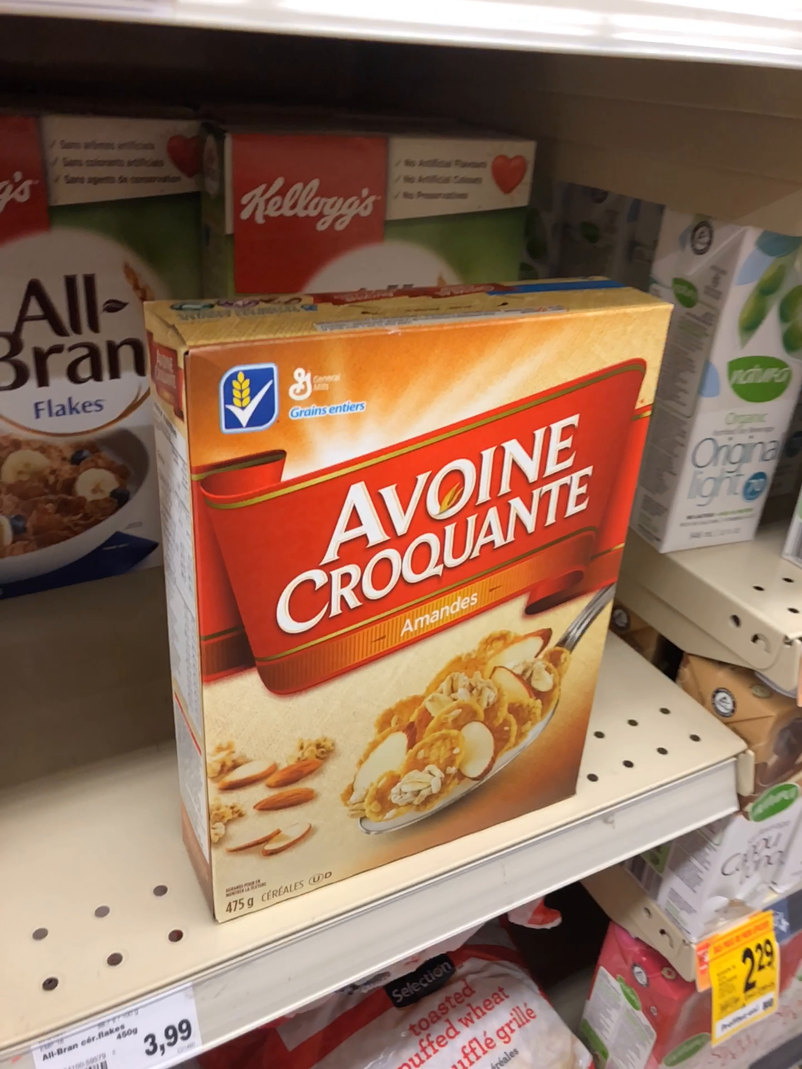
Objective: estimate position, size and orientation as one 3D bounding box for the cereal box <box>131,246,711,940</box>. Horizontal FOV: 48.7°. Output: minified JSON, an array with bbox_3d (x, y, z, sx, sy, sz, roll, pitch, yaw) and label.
[{"bbox_3d":[0.004,0.025,0.377,0.200,0.268,0.060,-11,33,-25],"label":"cereal box"}]
